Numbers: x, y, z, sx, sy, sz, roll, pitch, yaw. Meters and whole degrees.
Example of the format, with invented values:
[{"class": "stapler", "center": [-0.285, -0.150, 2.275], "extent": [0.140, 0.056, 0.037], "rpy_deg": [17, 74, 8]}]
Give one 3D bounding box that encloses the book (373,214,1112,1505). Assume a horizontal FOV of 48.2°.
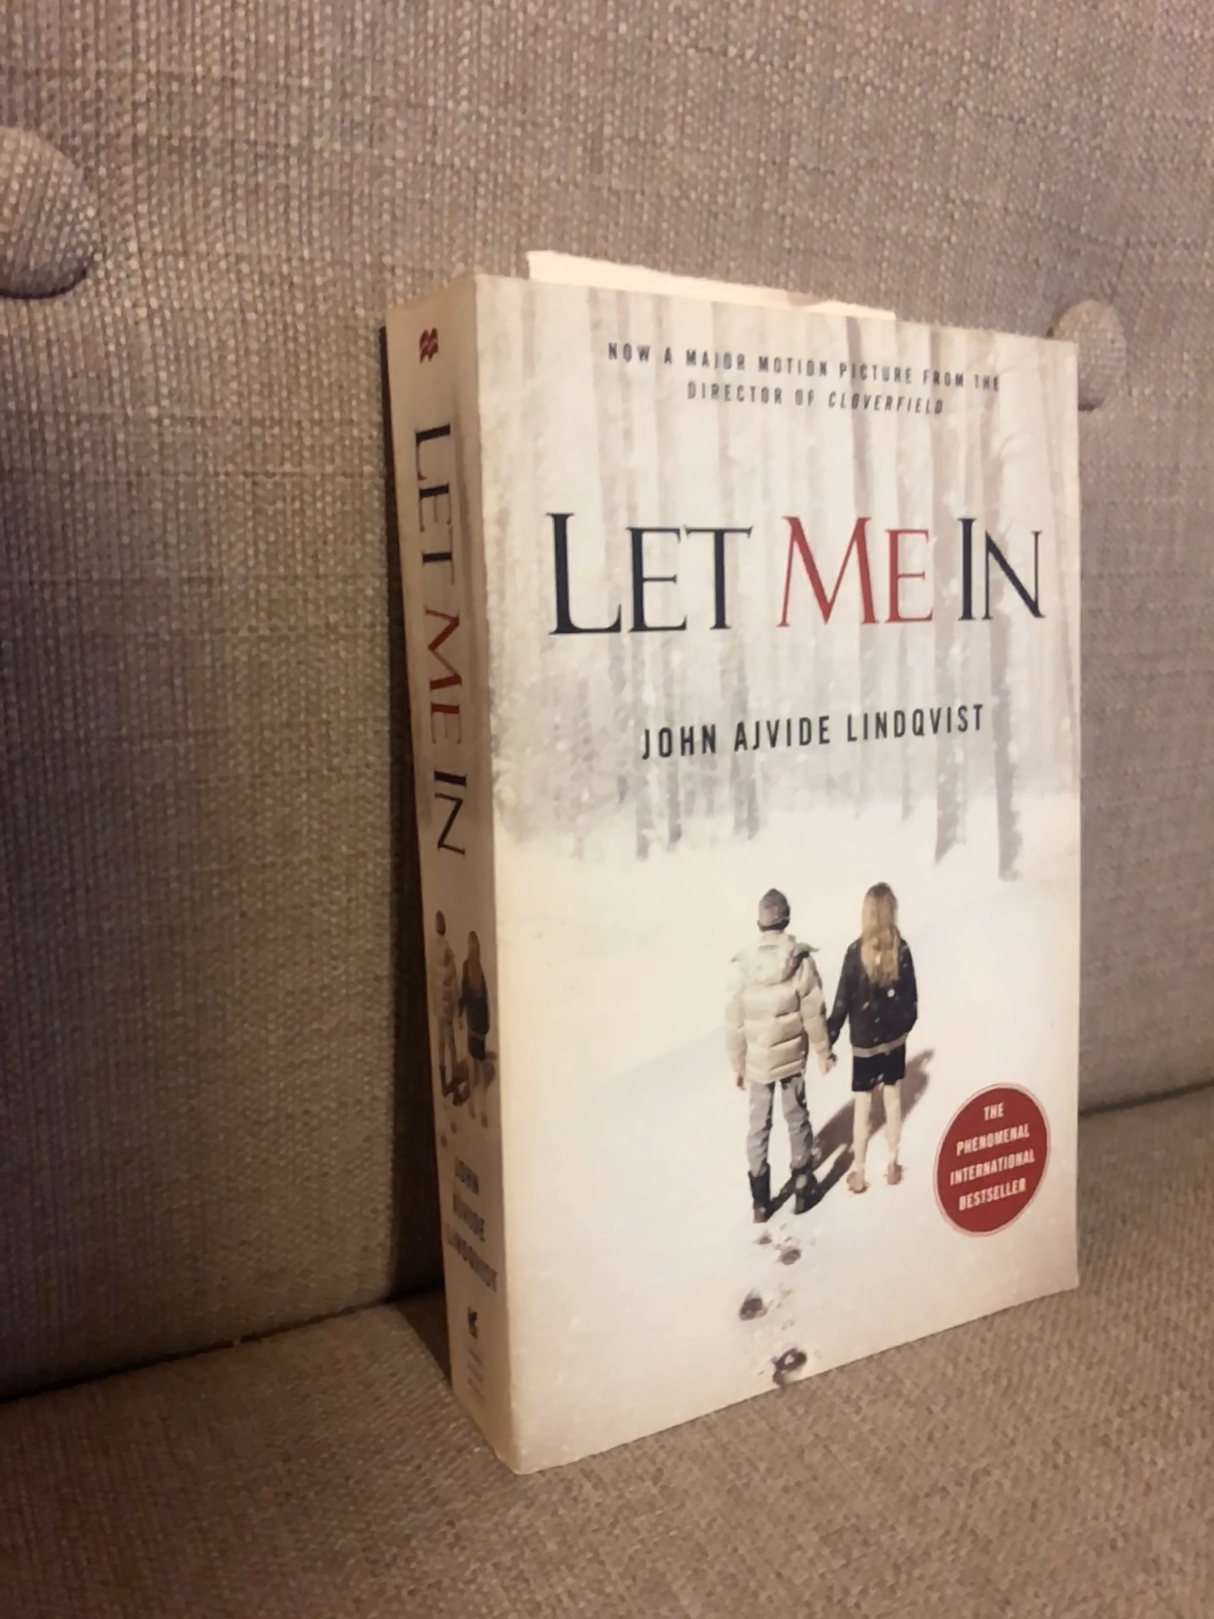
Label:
[{"class": "book", "center": [0.034, 0.006, 0.279], "extent": [0.147, 0.216, 0.043], "rpy_deg": [-5, 6, -28]}]
